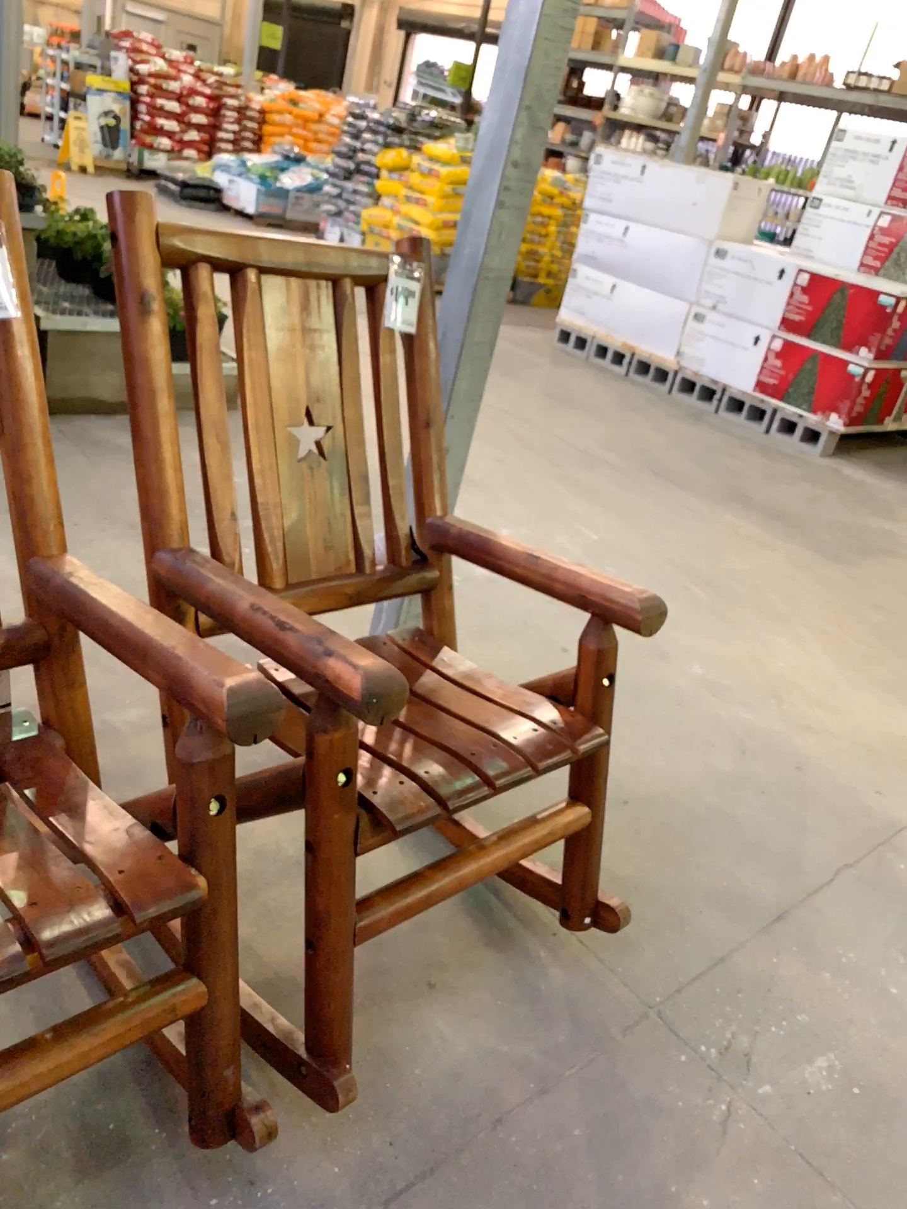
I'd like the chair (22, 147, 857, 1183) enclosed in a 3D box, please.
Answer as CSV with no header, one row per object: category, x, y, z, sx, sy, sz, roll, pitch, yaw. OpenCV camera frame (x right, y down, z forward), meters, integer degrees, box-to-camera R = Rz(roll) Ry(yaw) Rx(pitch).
chair,-0.165,0.008,1.582,0.674,1.158,1.020,-11,36,-43

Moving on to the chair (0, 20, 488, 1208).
chair,-0.682,0.125,1.087,0.674,1.158,1.020,-11,36,-43
